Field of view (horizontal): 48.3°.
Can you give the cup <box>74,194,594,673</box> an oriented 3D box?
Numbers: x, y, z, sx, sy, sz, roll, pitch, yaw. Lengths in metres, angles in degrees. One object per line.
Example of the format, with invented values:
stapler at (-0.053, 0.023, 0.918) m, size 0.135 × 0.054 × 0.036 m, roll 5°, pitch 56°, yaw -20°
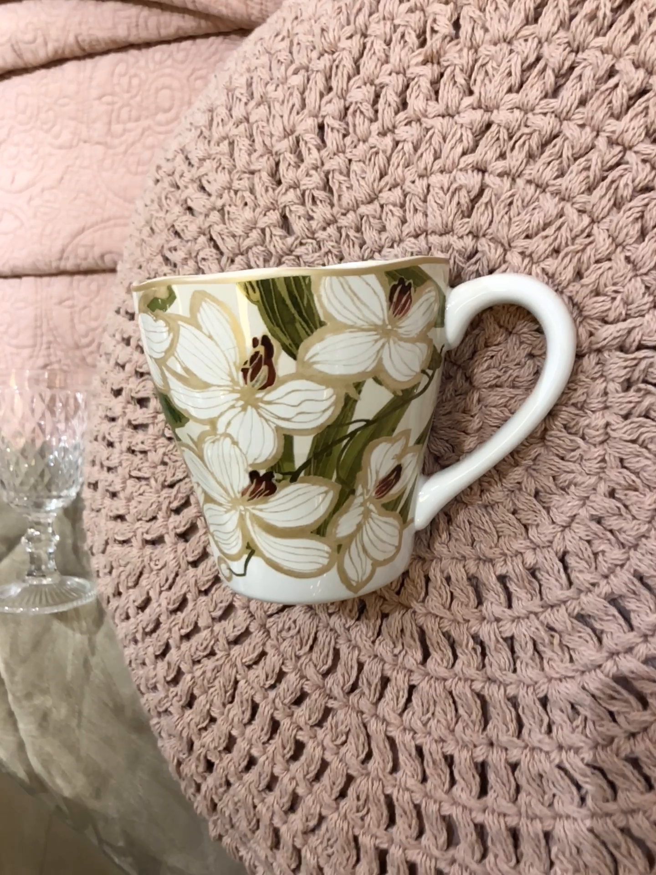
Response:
cup at (0.012, -0.007, 0.245) m, size 0.140 × 0.090 × 0.120 m, roll -1°, pitch 104°, yaw 22°
